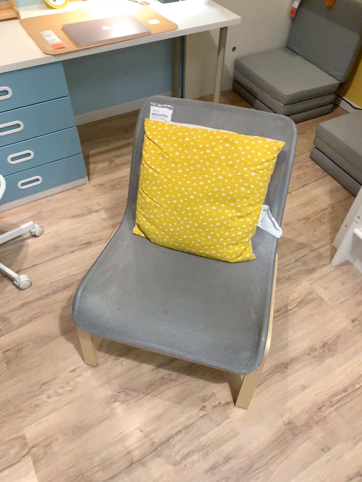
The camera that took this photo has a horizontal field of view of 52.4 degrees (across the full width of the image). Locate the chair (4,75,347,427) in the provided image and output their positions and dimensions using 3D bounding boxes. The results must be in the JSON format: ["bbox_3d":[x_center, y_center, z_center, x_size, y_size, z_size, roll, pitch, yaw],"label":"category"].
[{"bbox_3d":[0.044,0.025,1.131,0.630,0.708,0.672,12,48,9],"label":"chair"}]
